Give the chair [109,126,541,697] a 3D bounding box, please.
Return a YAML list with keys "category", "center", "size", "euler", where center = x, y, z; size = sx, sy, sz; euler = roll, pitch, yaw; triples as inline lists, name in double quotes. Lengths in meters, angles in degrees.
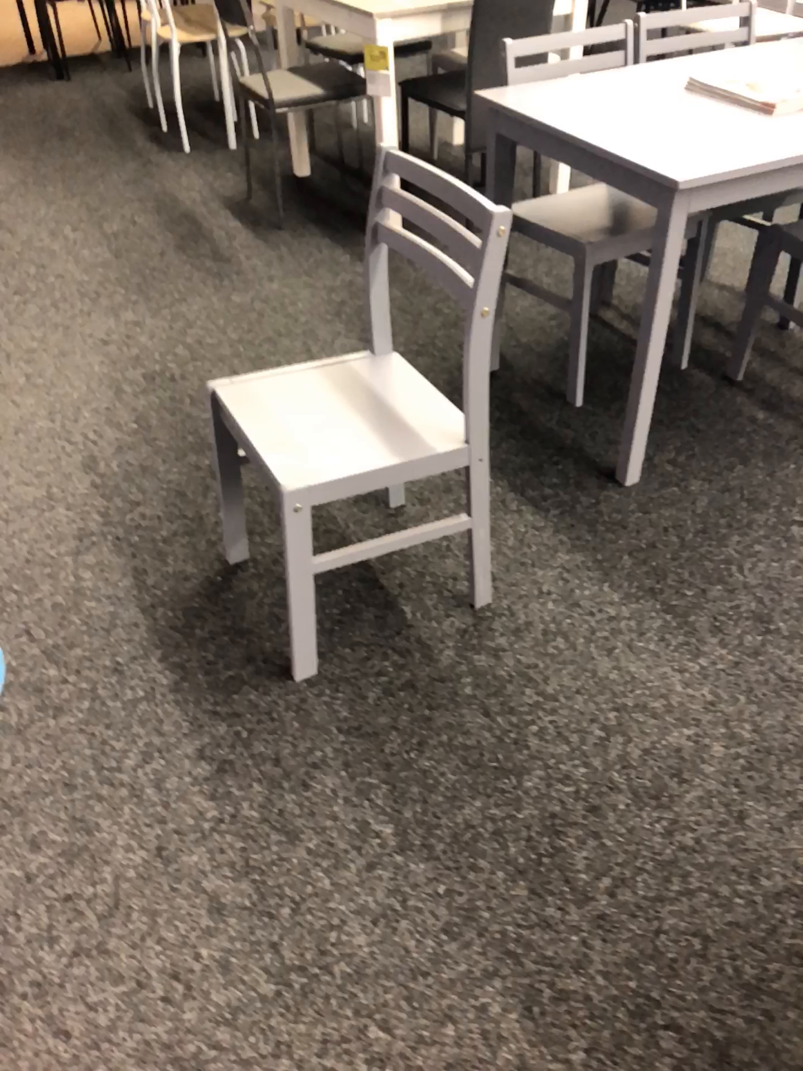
- category: "chair"
  center: [-0.123, -0.225, 1.566]
  size: [0.492, 0.765, 0.492]
  euler: [-20, 43, -21]
